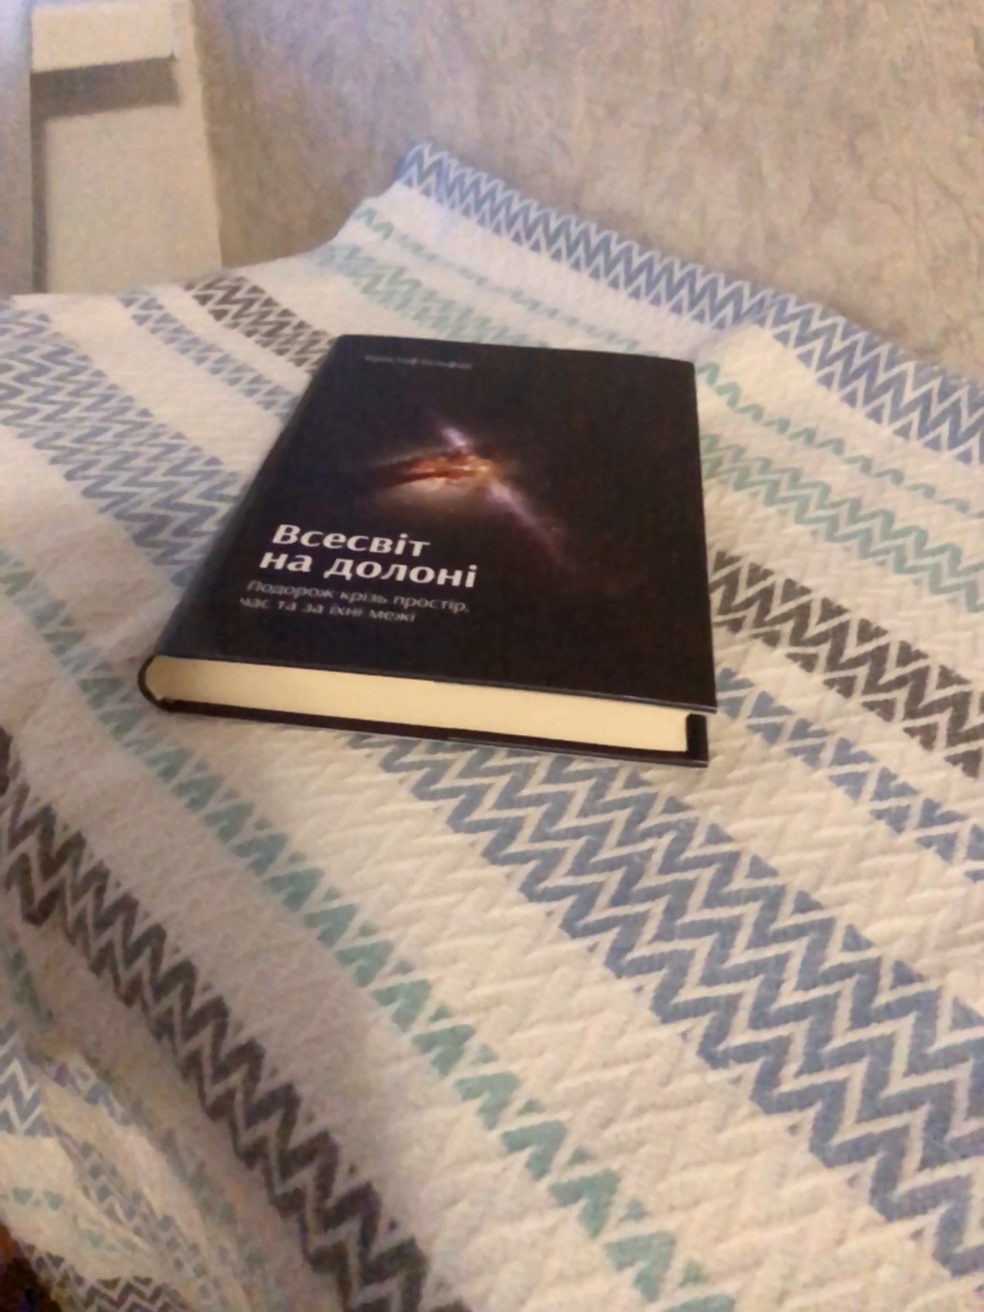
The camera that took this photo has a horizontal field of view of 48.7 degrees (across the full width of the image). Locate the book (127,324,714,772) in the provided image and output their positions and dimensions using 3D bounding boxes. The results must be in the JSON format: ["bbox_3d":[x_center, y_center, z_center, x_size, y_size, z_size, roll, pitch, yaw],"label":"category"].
[{"bbox_3d":[-0.009,-0.056,0.392,0.161,0.030,0.226,6,39,4],"label":"book"}]
